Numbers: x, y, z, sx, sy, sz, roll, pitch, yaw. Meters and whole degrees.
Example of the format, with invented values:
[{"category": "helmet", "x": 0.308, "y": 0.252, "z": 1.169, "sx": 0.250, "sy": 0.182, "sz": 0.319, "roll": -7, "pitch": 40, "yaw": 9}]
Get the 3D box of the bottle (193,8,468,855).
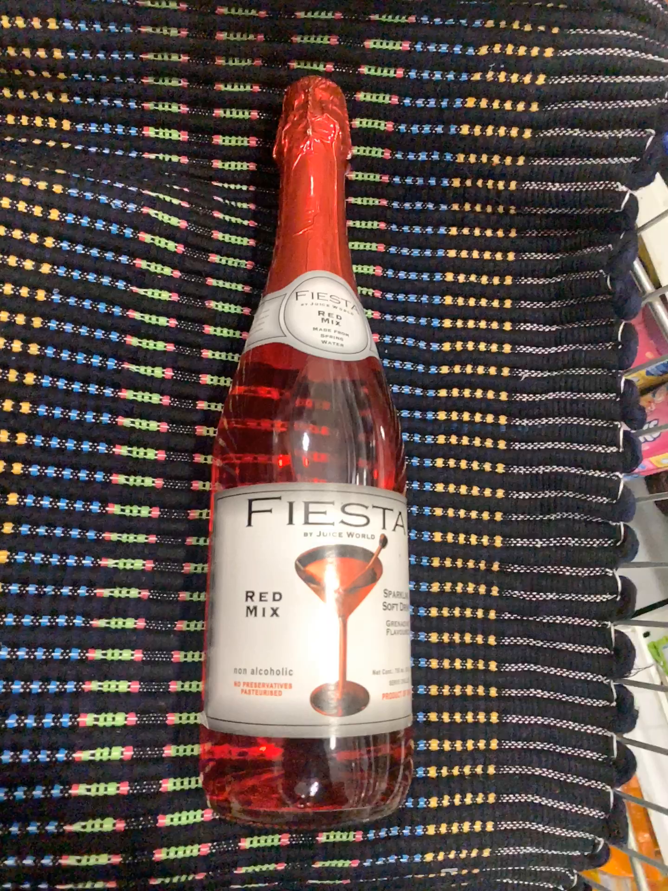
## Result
[{"category": "bottle", "x": -0.005, "y": -0.018, "z": 0.286, "sx": 0.080, "sy": 0.070, "sz": 0.310, "roll": 5, "pitch": 74, "yaw": -17}]
